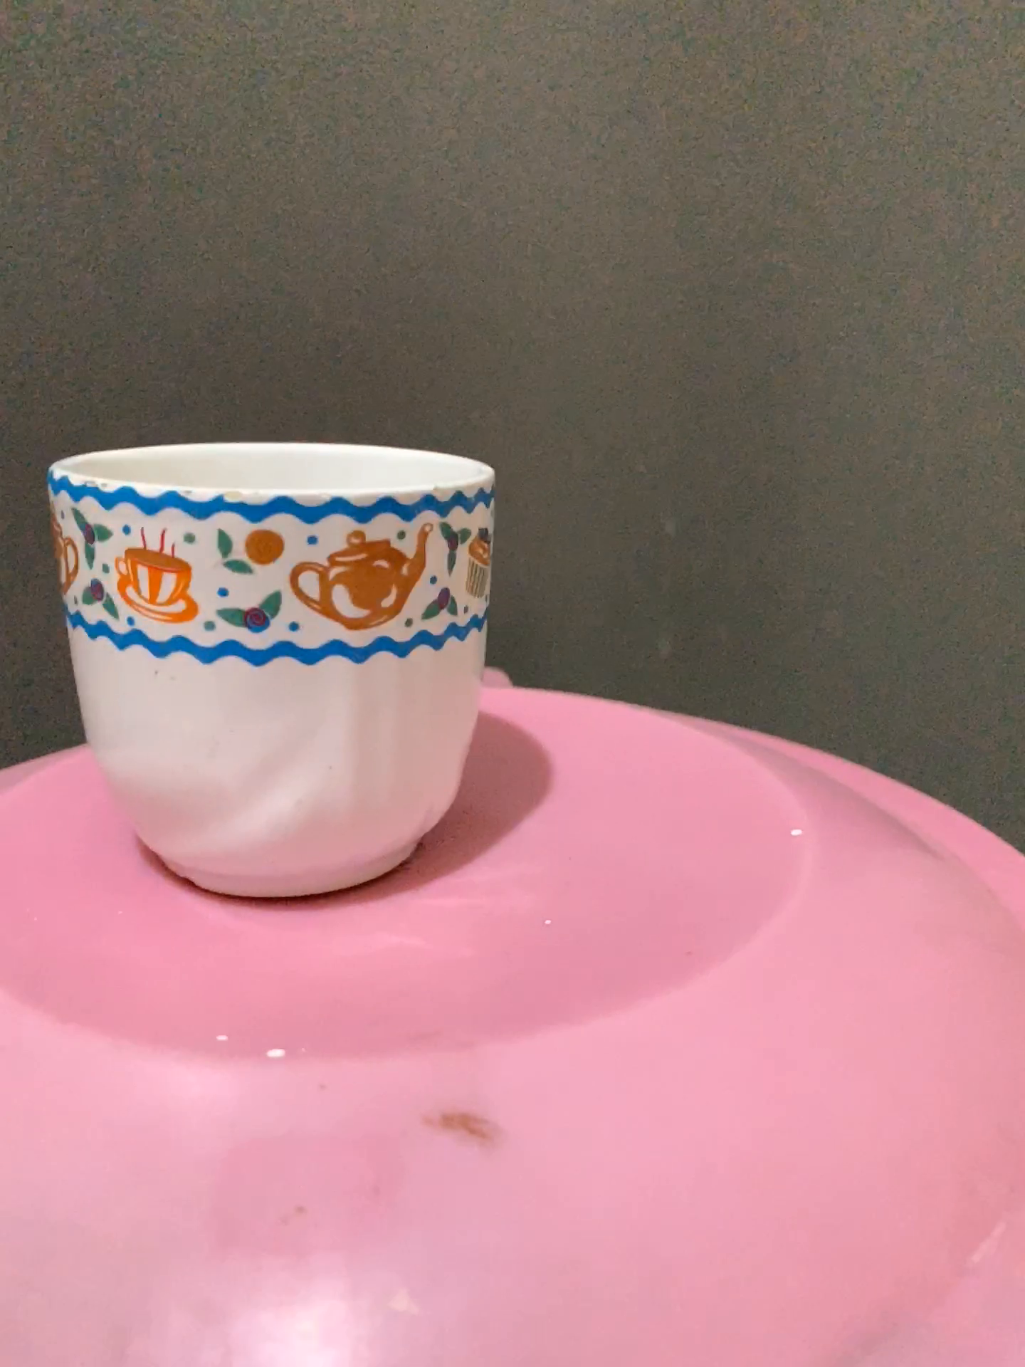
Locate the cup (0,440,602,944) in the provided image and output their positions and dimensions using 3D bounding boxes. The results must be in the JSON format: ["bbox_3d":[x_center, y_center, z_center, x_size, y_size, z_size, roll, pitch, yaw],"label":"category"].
[{"bbox_3d":[-0.032,-0.006,0.177,0.075,0.062,0.072,0,14,0],"label":"cup"}]
